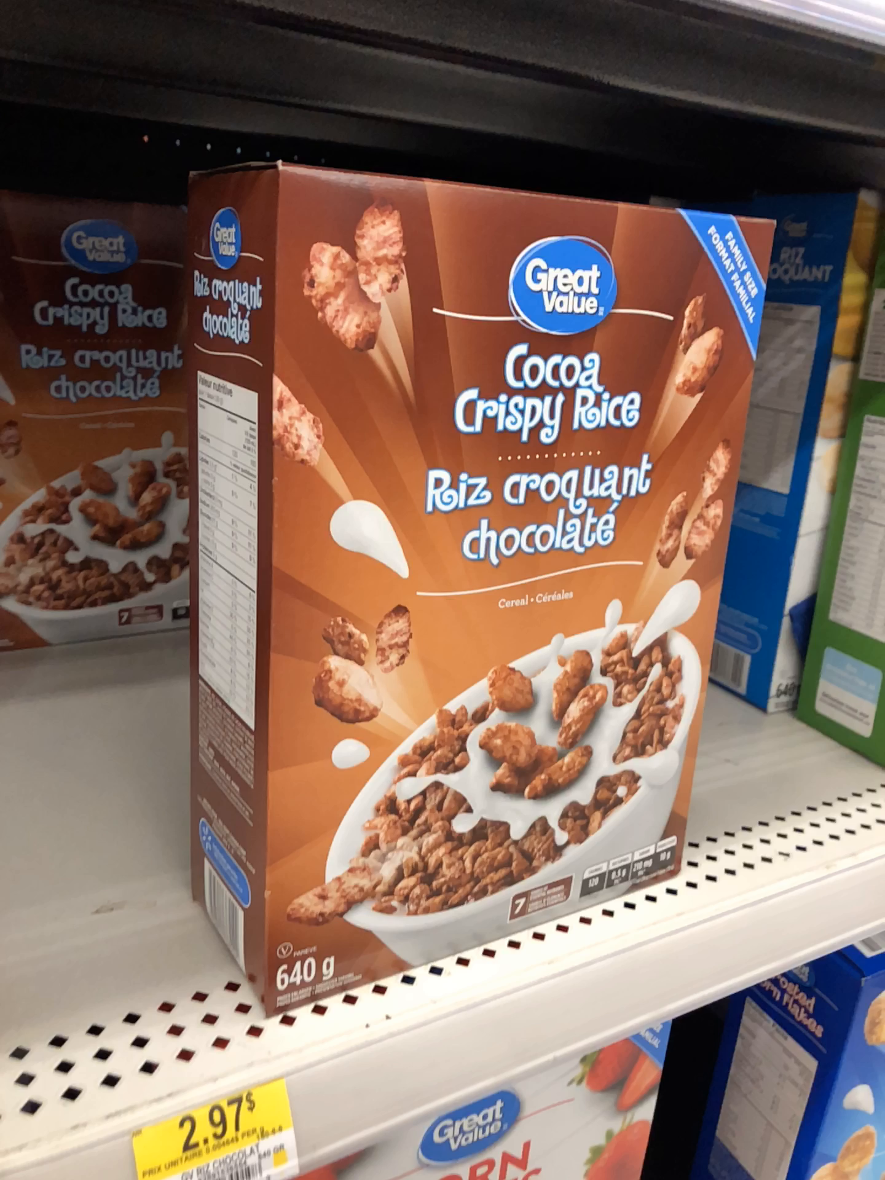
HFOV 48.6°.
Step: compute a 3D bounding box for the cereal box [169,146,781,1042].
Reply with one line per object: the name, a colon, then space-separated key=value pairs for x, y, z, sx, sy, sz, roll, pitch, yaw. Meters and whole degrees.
cereal box: x=0.010 y=-0.003 z=0.396 sx=0.210 sy=0.298 sz=0.080 roll=-8 pitch=20 yaw=-30
